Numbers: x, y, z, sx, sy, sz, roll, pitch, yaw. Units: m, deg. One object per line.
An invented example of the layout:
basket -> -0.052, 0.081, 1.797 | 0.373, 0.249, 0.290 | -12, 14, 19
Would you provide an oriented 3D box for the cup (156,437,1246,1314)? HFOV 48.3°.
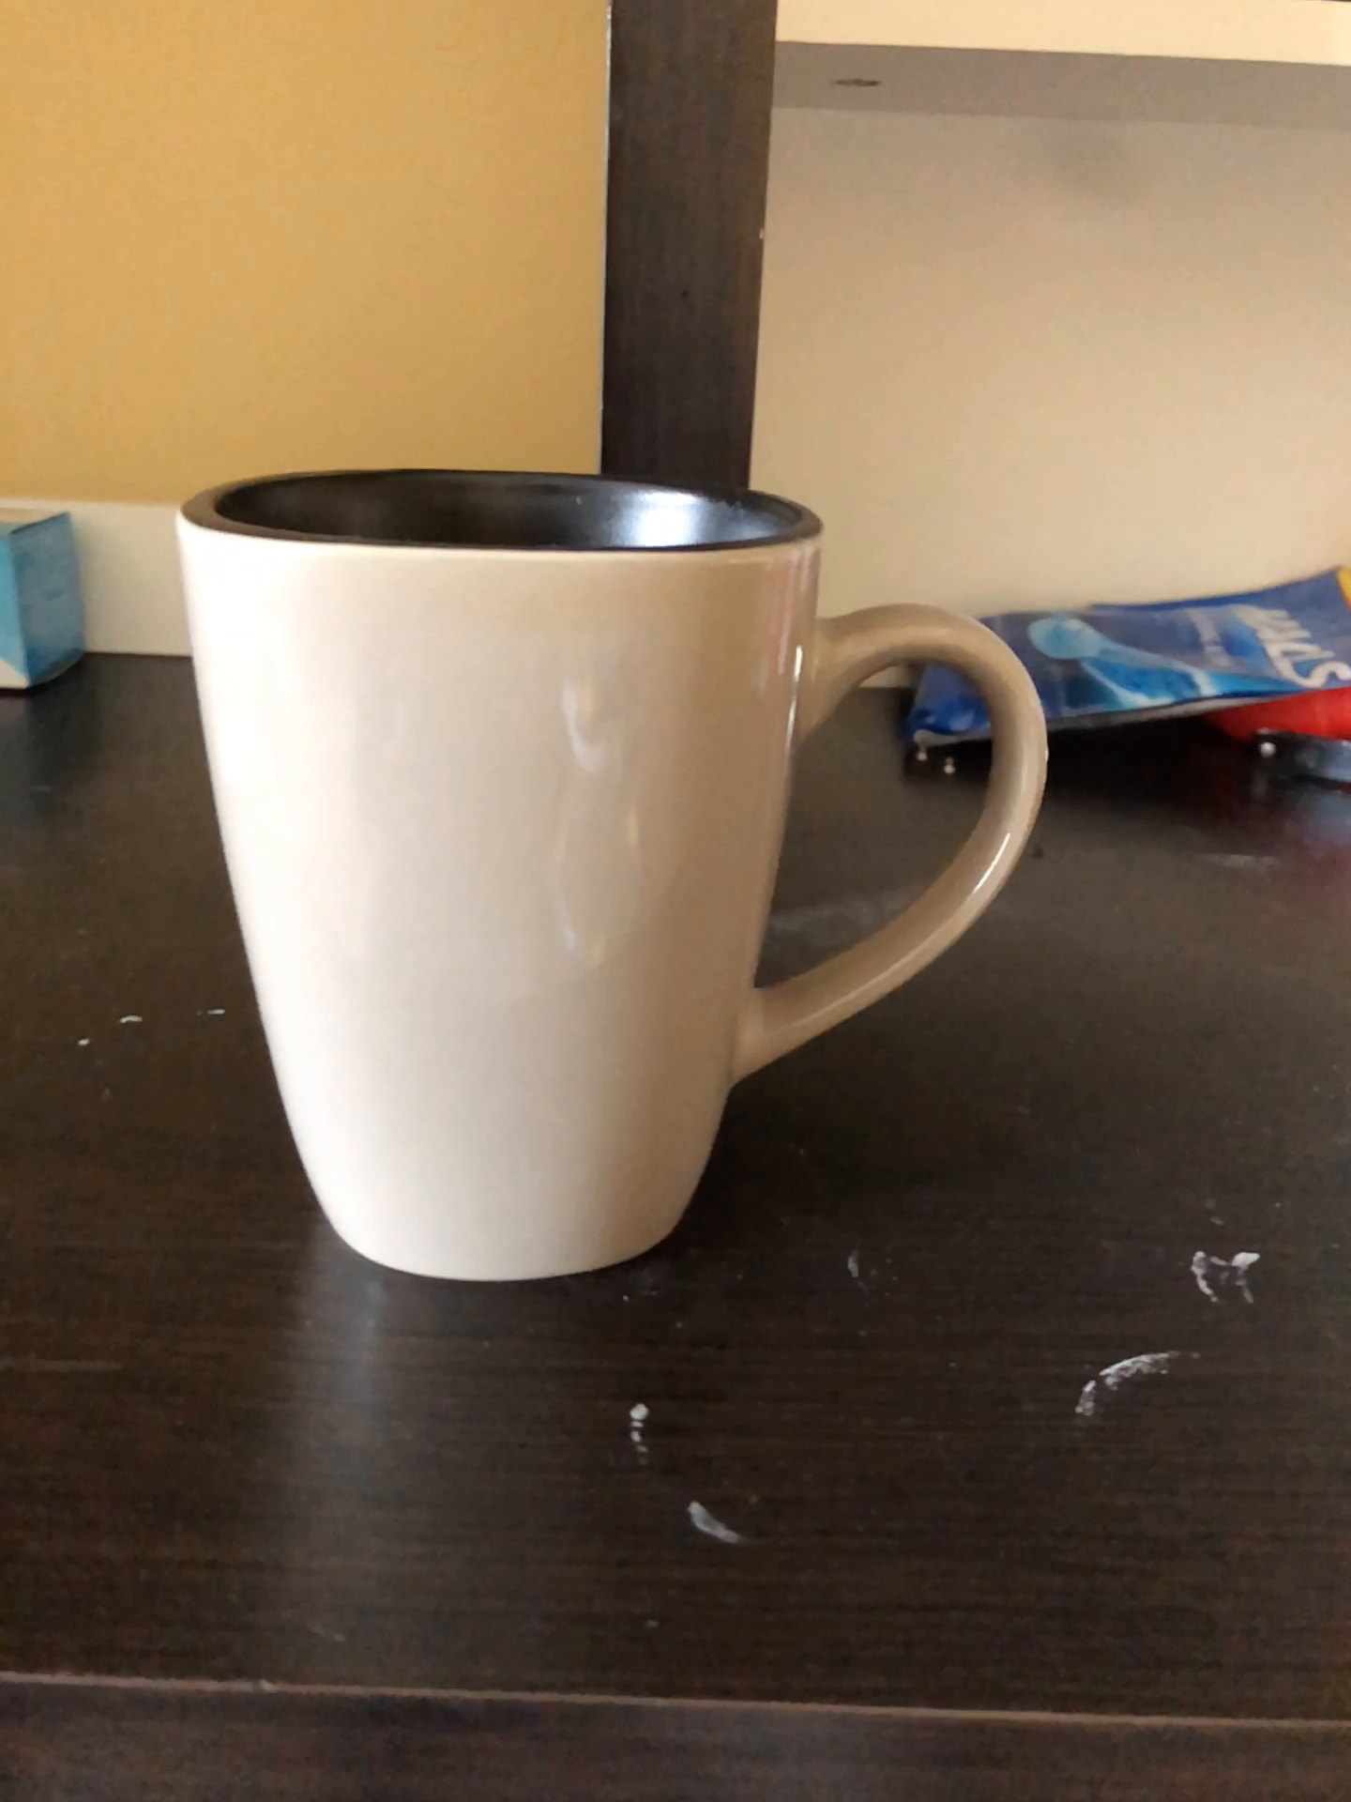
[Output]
cup -> -0.001, -0.011, 0.246 | 0.130, 0.110, 0.100 | 1, 23, -5
